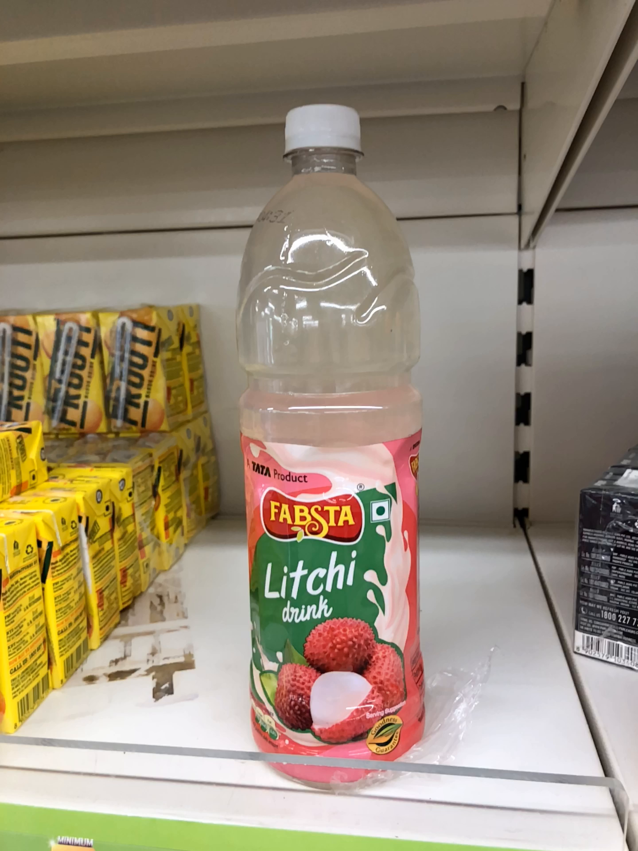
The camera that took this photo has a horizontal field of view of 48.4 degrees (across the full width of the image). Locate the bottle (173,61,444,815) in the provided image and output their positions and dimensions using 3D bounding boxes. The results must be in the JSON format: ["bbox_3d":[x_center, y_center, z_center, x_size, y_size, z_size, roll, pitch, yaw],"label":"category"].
[{"bbox_3d":[0.004,0.010,0.293,0.080,0.269,0.070,2,13,20],"label":"bottle"}]
